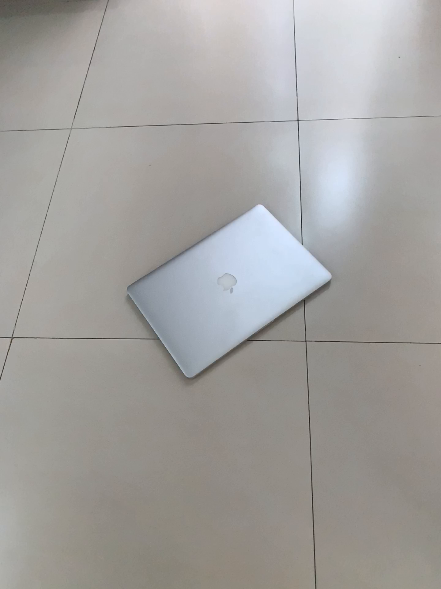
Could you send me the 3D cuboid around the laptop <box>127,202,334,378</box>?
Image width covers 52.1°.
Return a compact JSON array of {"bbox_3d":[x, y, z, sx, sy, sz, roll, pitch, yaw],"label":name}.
[{"bbox_3d":[0.017,-0.026,0.927,0.356,0.001,0.239,-34,65,-12],"label":"laptop"}]
